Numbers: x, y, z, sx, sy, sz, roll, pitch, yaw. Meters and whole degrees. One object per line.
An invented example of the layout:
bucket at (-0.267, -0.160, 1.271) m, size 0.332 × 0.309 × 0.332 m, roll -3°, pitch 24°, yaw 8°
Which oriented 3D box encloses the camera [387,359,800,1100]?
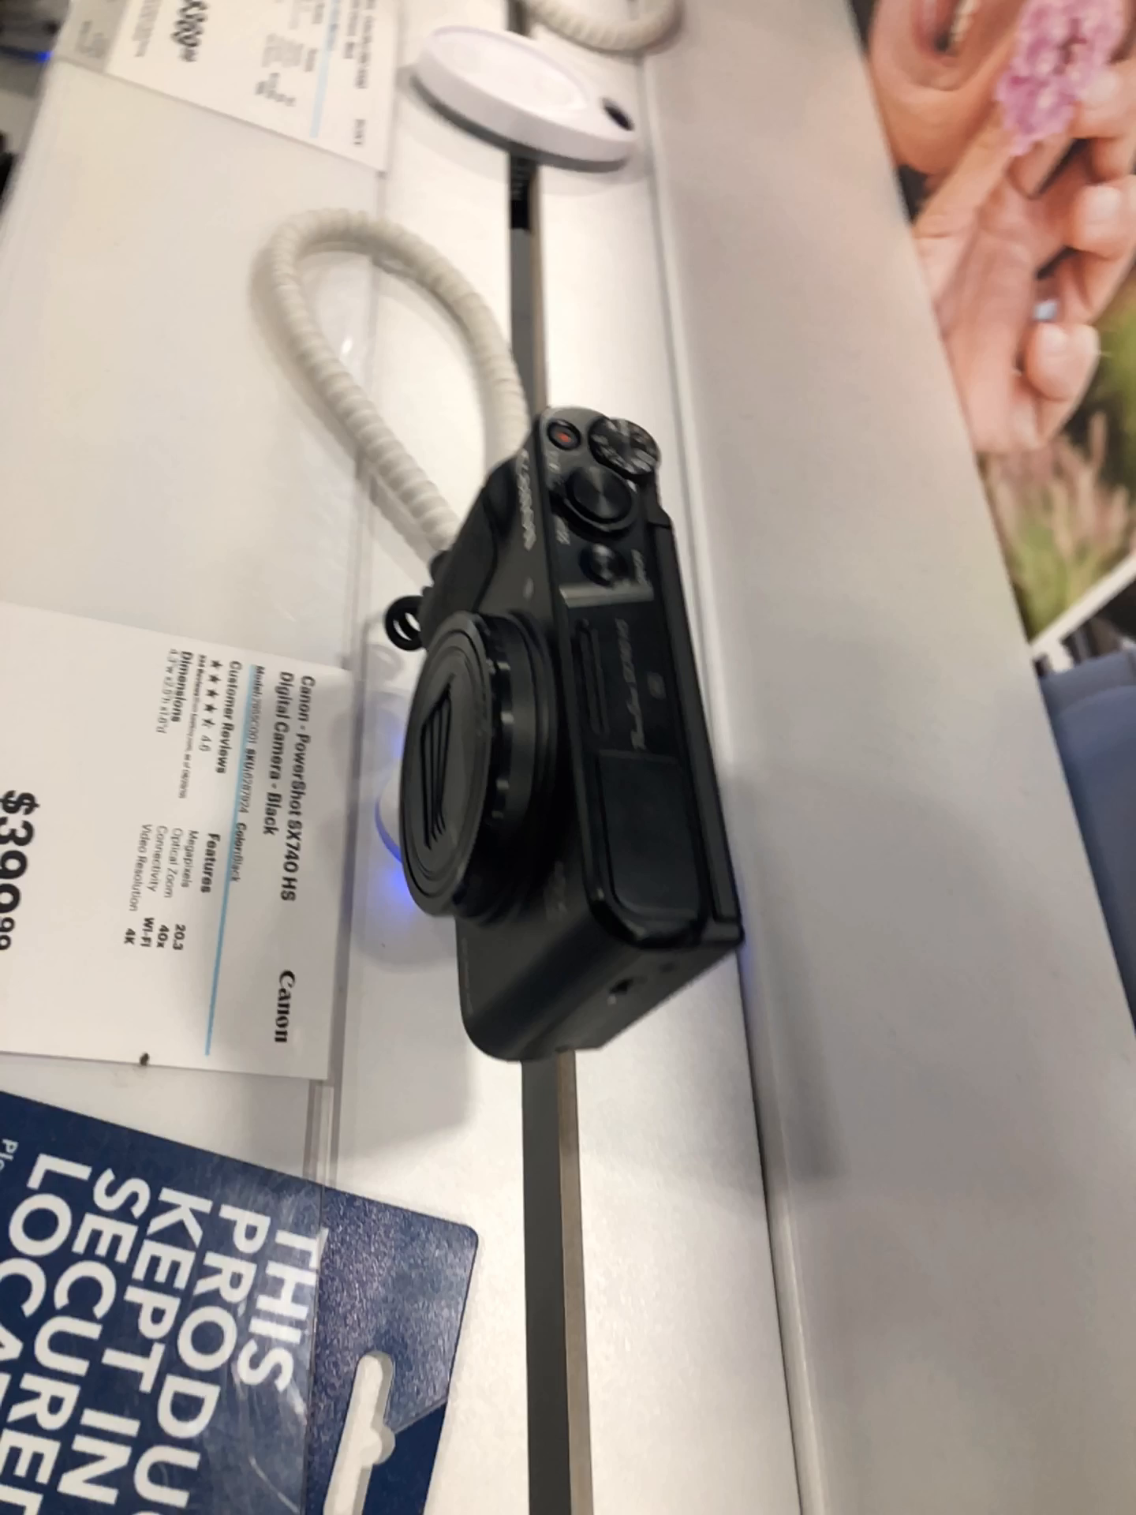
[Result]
camera at (-0.003, -0.004, 0.243) m, size 0.040 × 0.070 × 0.120 m, roll 6°, pitch 58°, yaw -23°
